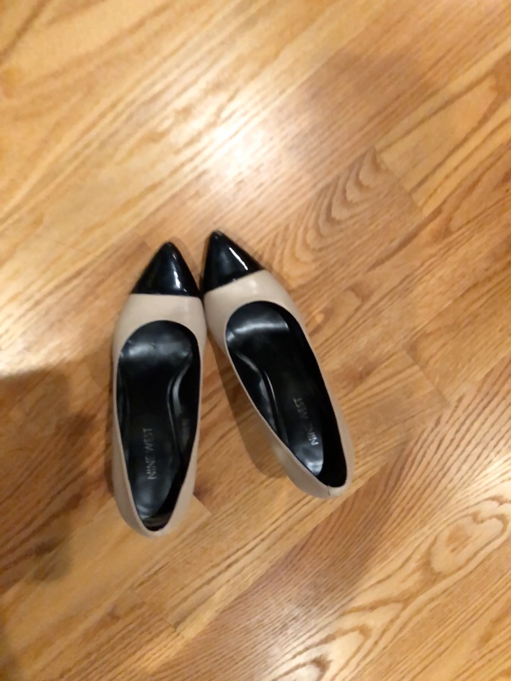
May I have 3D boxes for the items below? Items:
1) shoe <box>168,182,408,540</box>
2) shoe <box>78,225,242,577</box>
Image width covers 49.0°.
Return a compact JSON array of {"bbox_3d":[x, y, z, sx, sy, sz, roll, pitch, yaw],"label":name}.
[{"bbox_3d":[0.018,0.010,0.451,0.085,0.139,0.235,-24,103,-6],"label":"shoe"},{"bbox_3d":[-0.076,0.037,0.439,0.085,0.139,0.235,5,98,-11],"label":"shoe"}]
